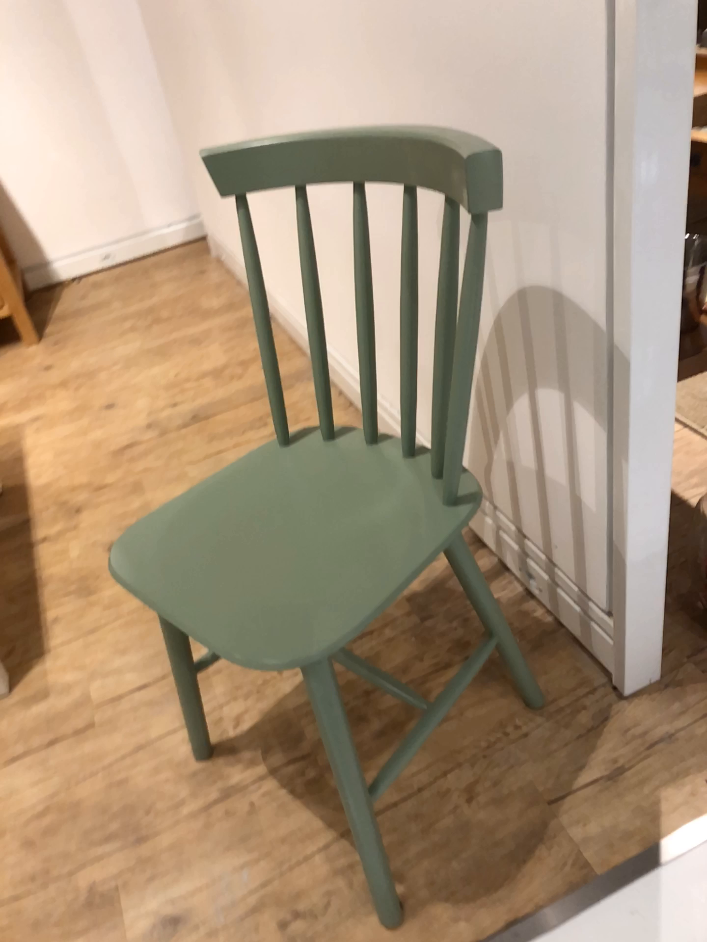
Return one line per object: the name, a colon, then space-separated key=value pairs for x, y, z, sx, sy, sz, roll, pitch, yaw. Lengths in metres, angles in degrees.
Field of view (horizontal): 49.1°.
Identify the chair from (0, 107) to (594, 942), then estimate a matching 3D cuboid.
chair: x=-0.045 y=0.043 z=0.994 sx=0.472 sy=0.814 sz=0.522 roll=22 pitch=47 yaw=40
